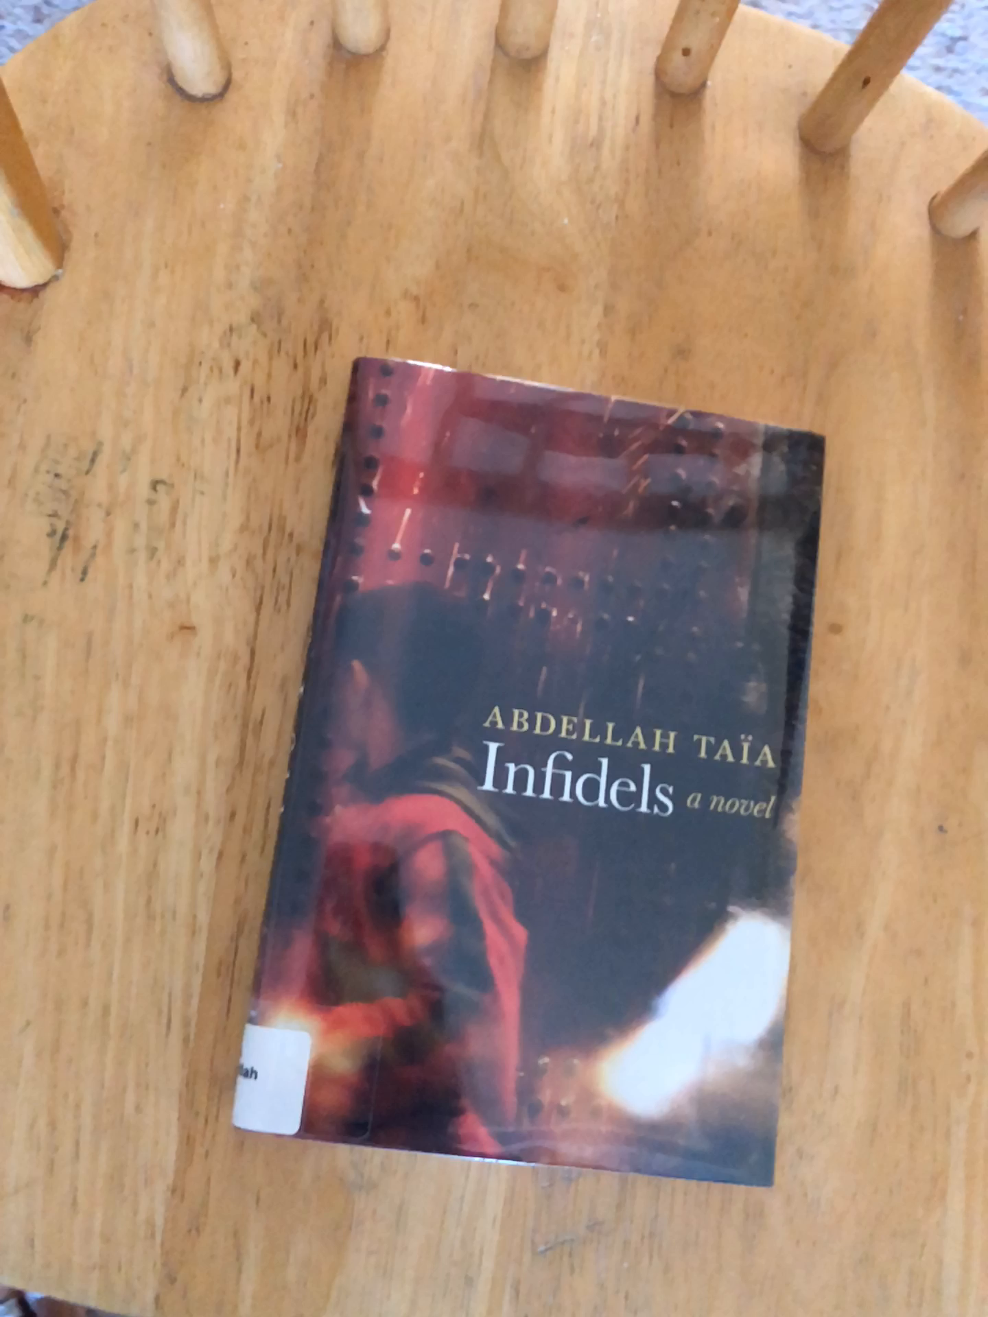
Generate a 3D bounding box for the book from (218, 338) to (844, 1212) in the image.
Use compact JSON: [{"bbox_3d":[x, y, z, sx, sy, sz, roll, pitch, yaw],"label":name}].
[{"bbox_3d":[0.017,0.027,0.307,0.143,0.020,0.216,9,78,-4],"label":"book"}]
